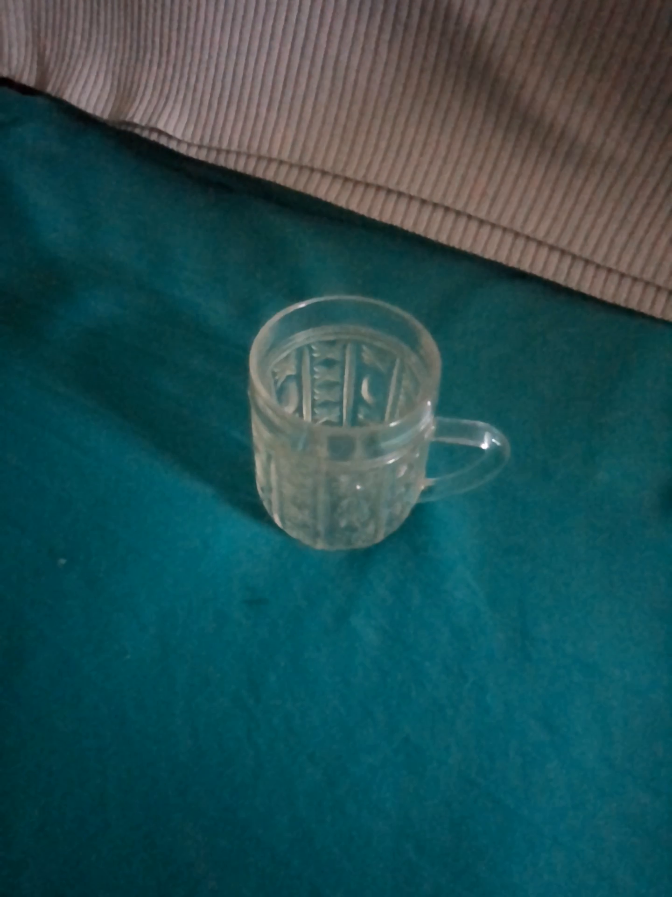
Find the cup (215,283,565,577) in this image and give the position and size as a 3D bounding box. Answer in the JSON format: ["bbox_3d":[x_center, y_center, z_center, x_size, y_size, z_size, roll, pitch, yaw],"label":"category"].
[{"bbox_3d":[0.018,-0.004,0.269,0.104,0.076,0.064,6,57,2],"label":"cup"}]
